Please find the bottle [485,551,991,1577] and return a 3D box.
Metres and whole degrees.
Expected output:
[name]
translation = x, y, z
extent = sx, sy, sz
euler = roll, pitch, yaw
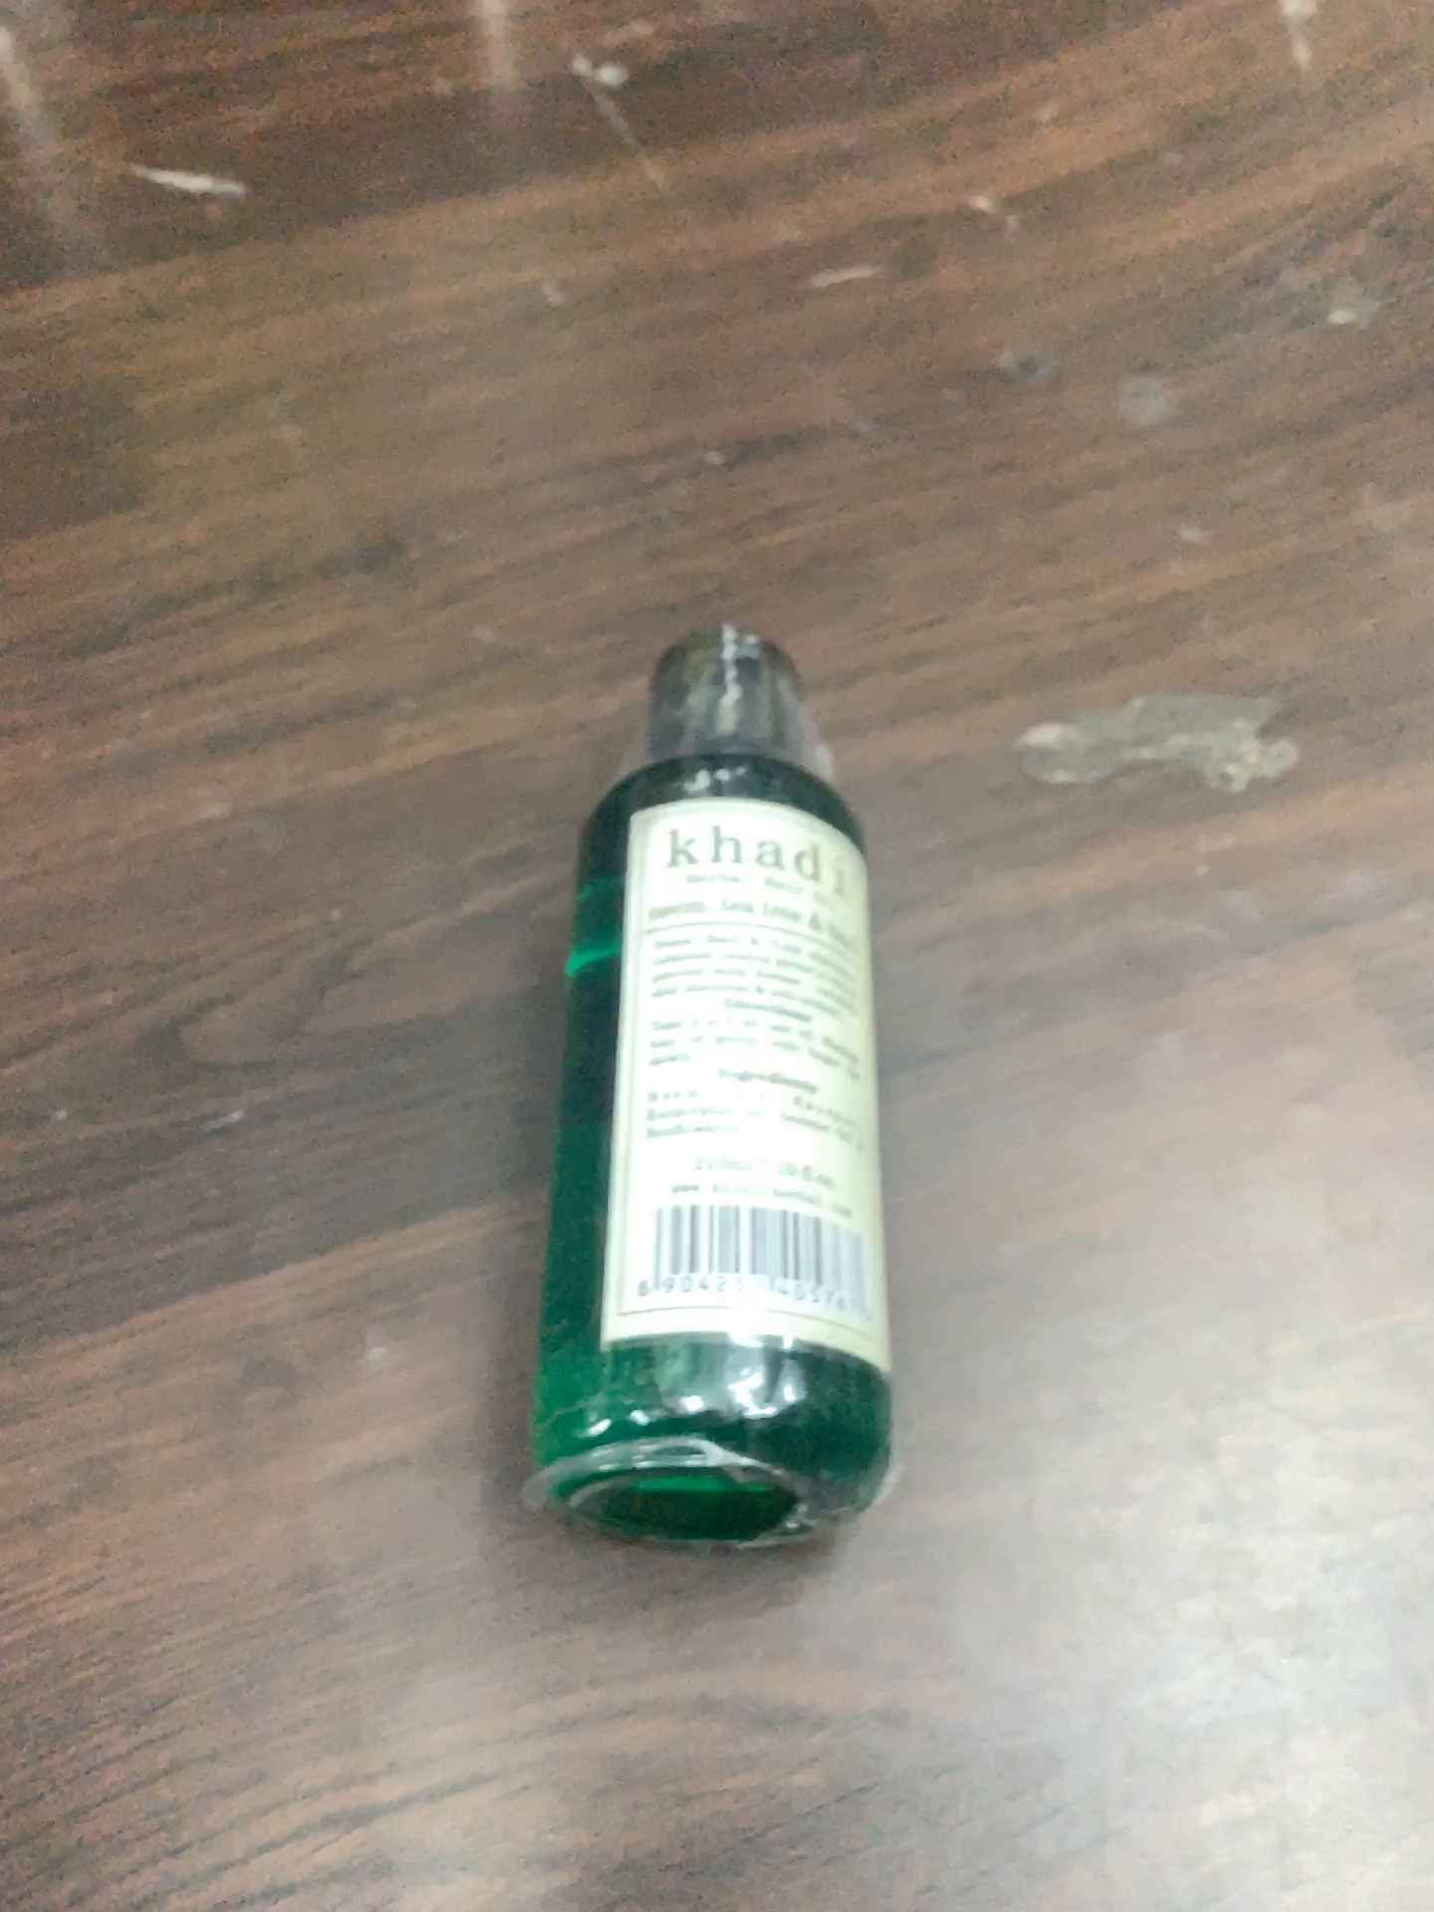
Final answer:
[bottle]
translation = 0.002, 0.013, 0.241
extent = 0.050, 0.050, 0.150
euler = 15, 54, -21
